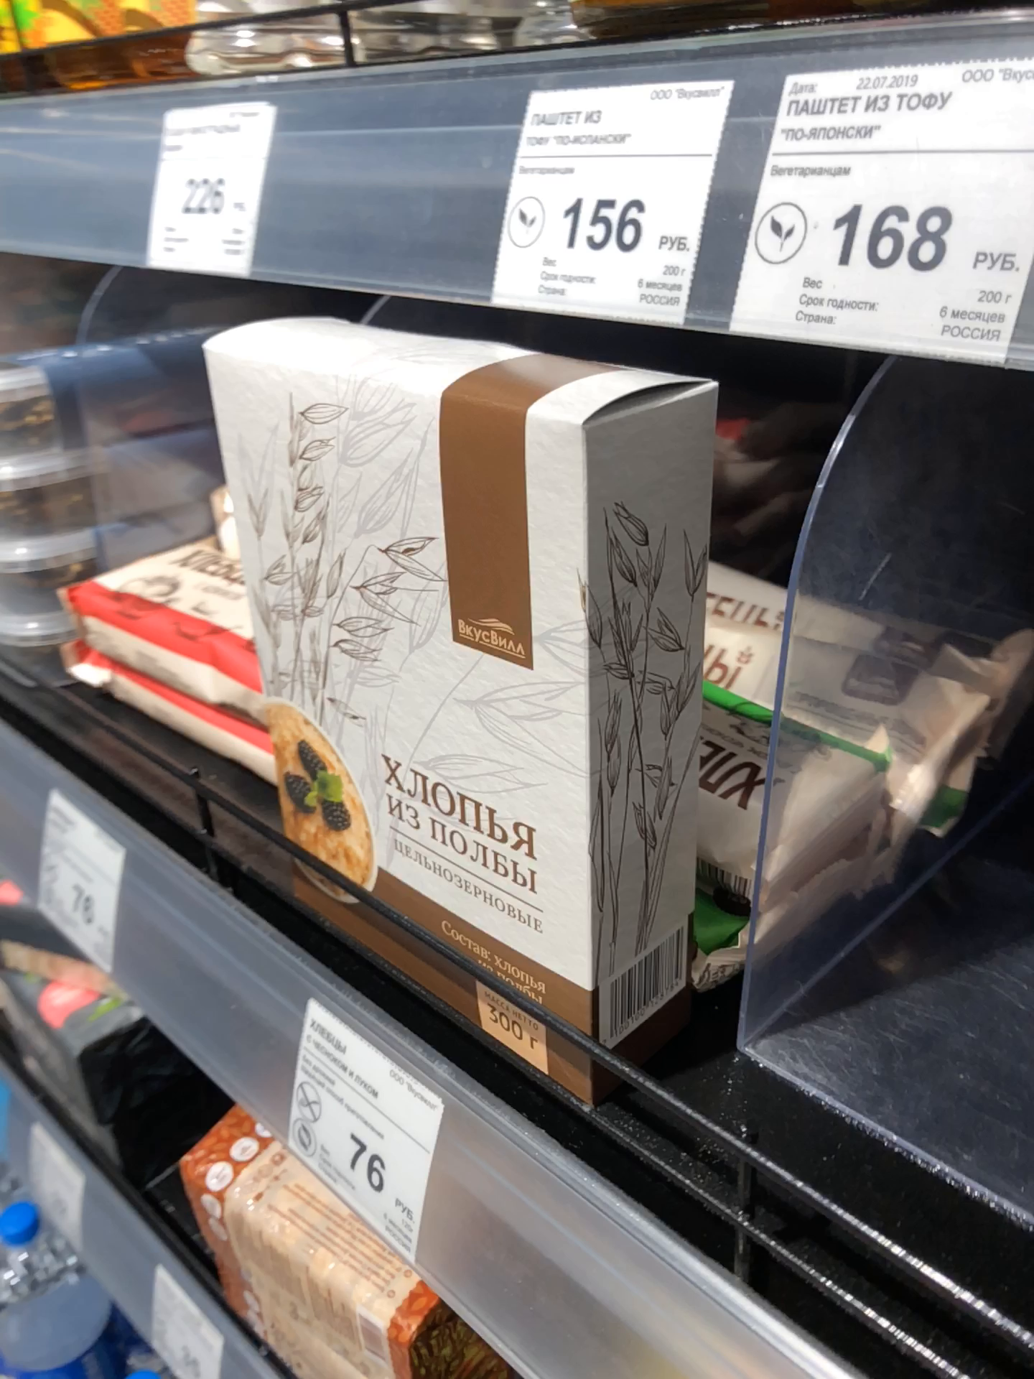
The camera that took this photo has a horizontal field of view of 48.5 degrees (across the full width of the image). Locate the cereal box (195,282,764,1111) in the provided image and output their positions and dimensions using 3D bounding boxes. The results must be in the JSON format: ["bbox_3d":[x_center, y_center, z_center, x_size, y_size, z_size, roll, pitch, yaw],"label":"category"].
[{"bbox_3d":[-0.014,-0.006,0.320,0.050,0.189,0.150,-25,34,-38],"label":"cereal box"}]
